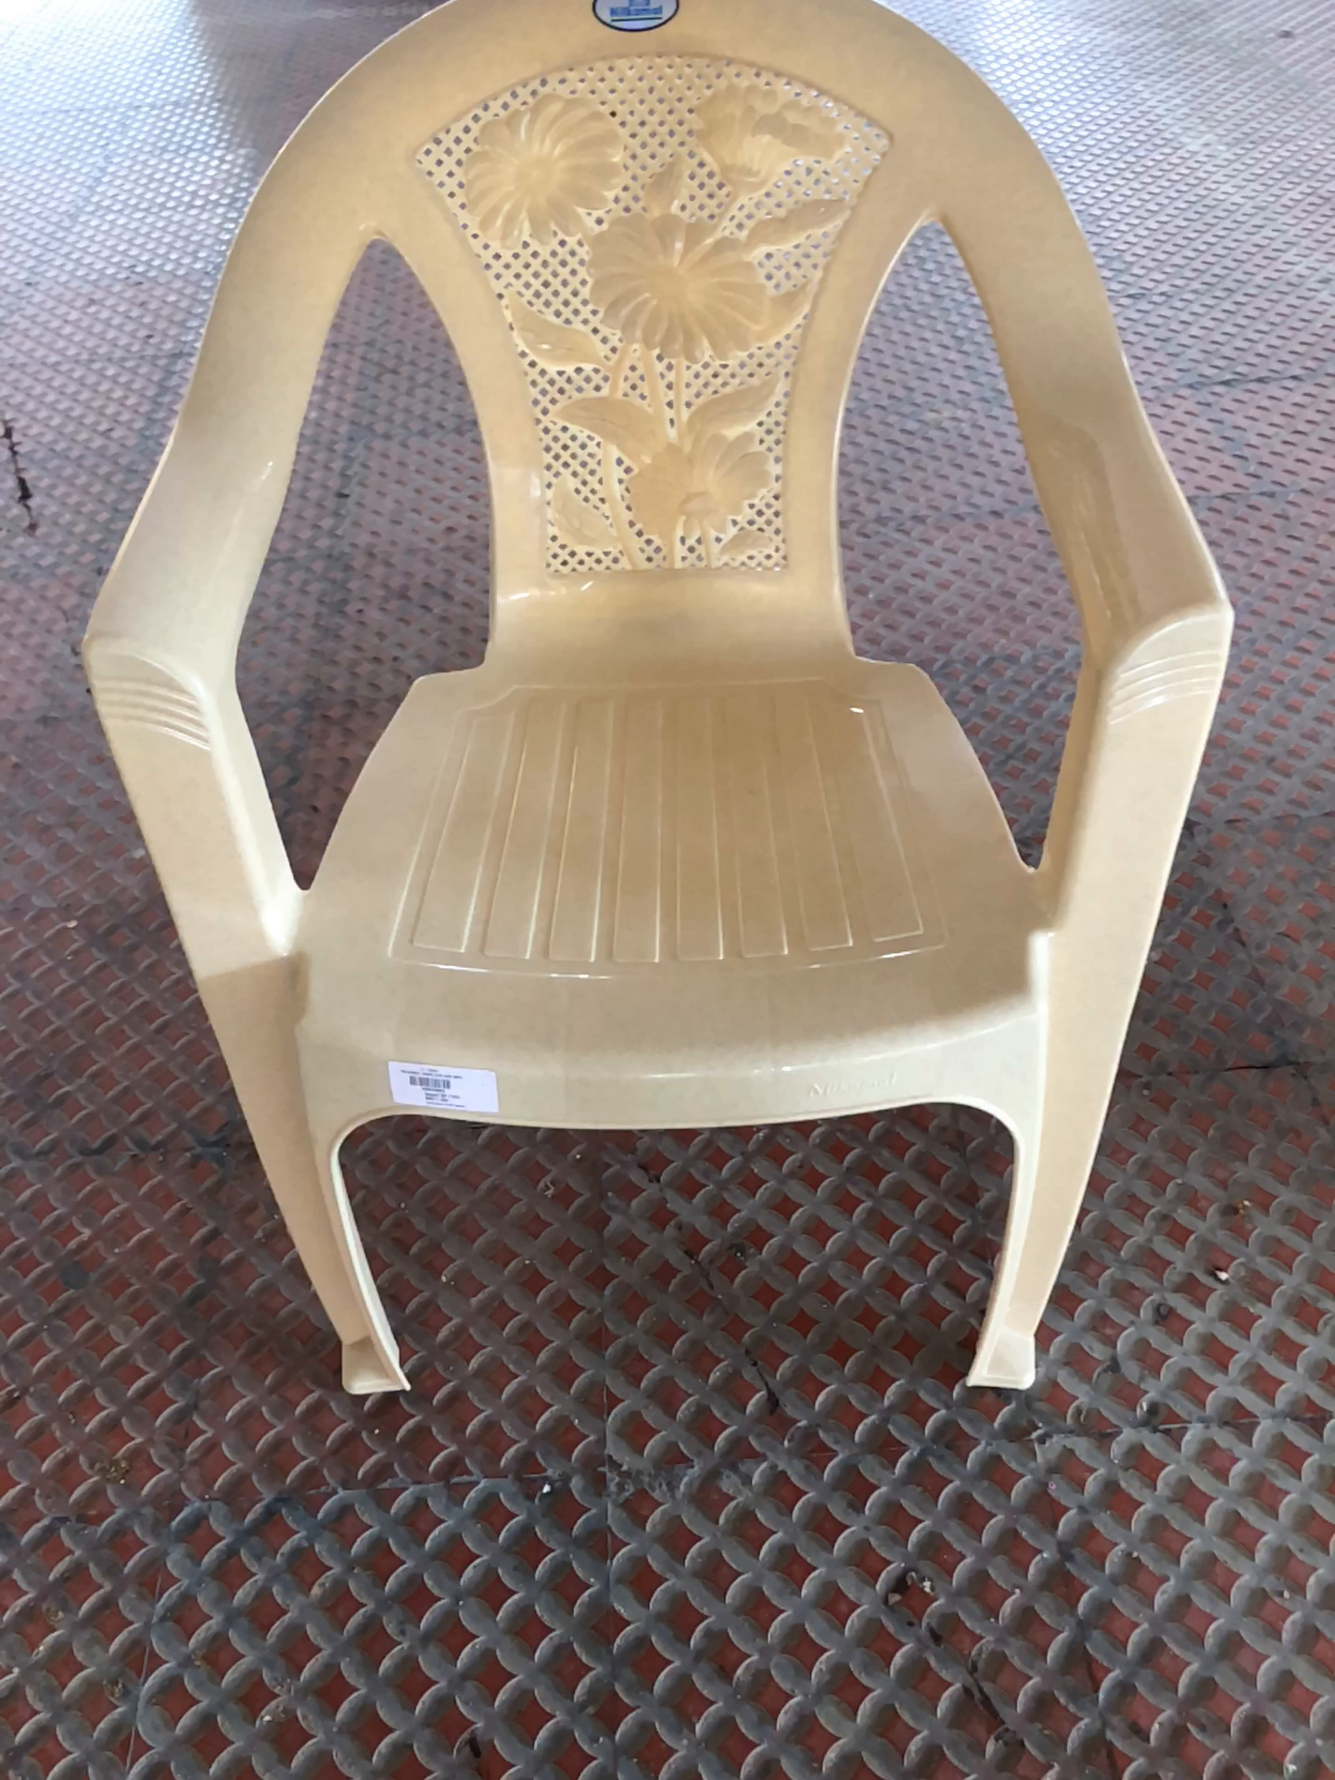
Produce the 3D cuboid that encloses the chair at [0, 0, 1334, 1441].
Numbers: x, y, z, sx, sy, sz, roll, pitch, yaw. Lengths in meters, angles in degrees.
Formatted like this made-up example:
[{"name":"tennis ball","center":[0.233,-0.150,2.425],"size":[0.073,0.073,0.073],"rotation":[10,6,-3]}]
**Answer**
[{"name":"chair","center":[-0.013,-0.117,0.980],"size":[0.530,0.805,0.614],"rotation":[-2,45,1]}]
